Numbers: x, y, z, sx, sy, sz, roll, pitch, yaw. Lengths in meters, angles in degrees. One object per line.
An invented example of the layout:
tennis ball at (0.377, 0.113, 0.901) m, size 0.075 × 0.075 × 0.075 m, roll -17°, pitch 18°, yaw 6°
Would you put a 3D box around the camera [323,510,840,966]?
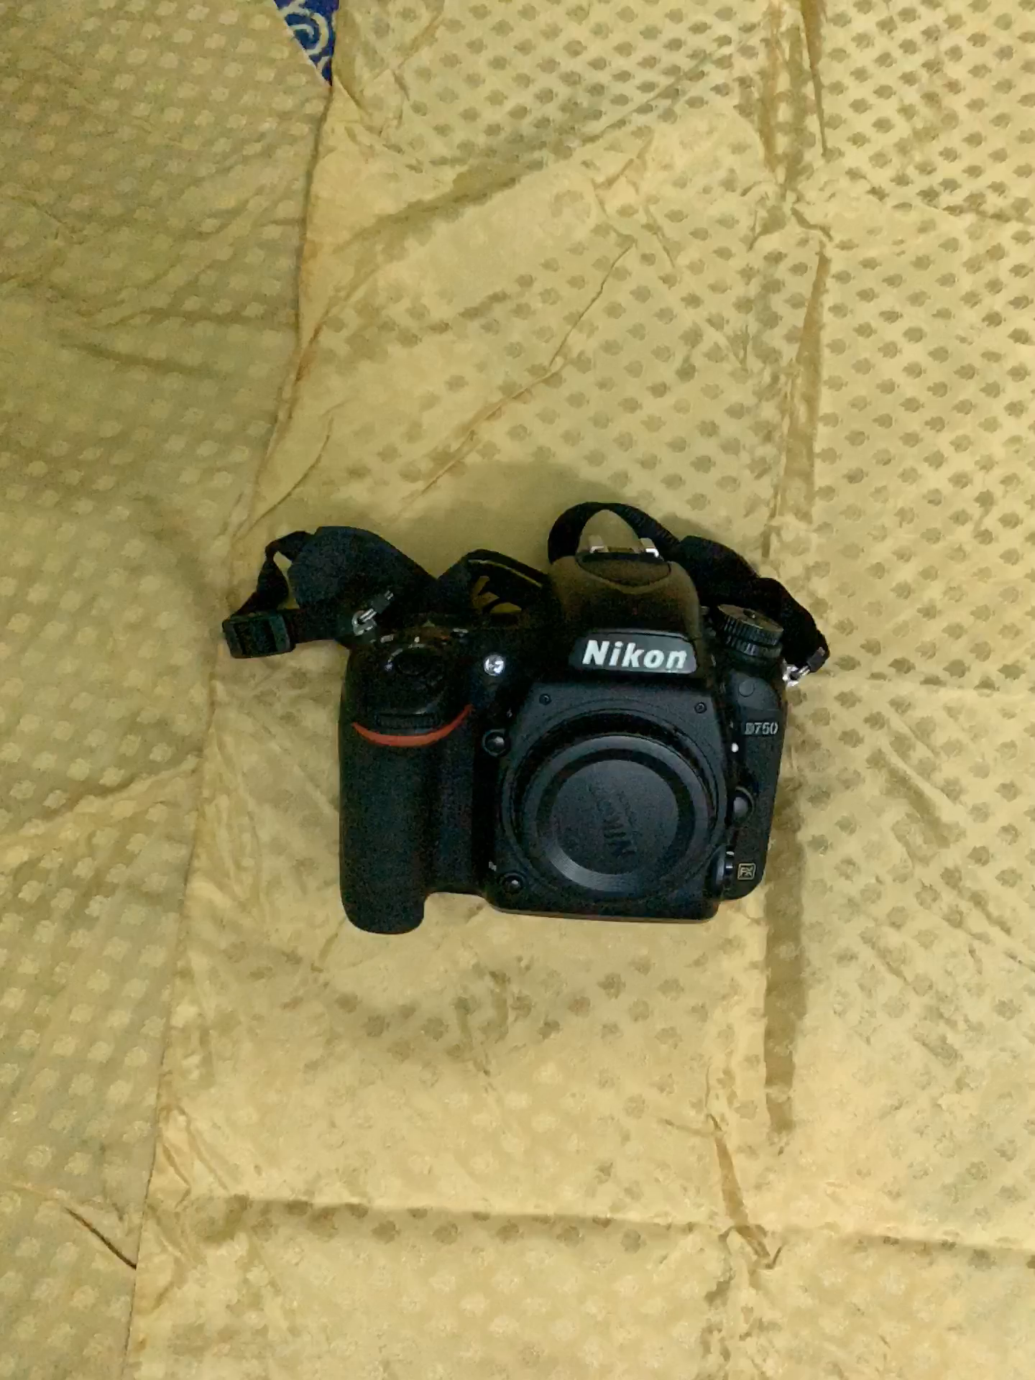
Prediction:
camera at (0.013, 0.012, 0.320) m, size 0.130 × 0.073 × 0.111 m, roll 3°, pitch 110°, yaw -1°
